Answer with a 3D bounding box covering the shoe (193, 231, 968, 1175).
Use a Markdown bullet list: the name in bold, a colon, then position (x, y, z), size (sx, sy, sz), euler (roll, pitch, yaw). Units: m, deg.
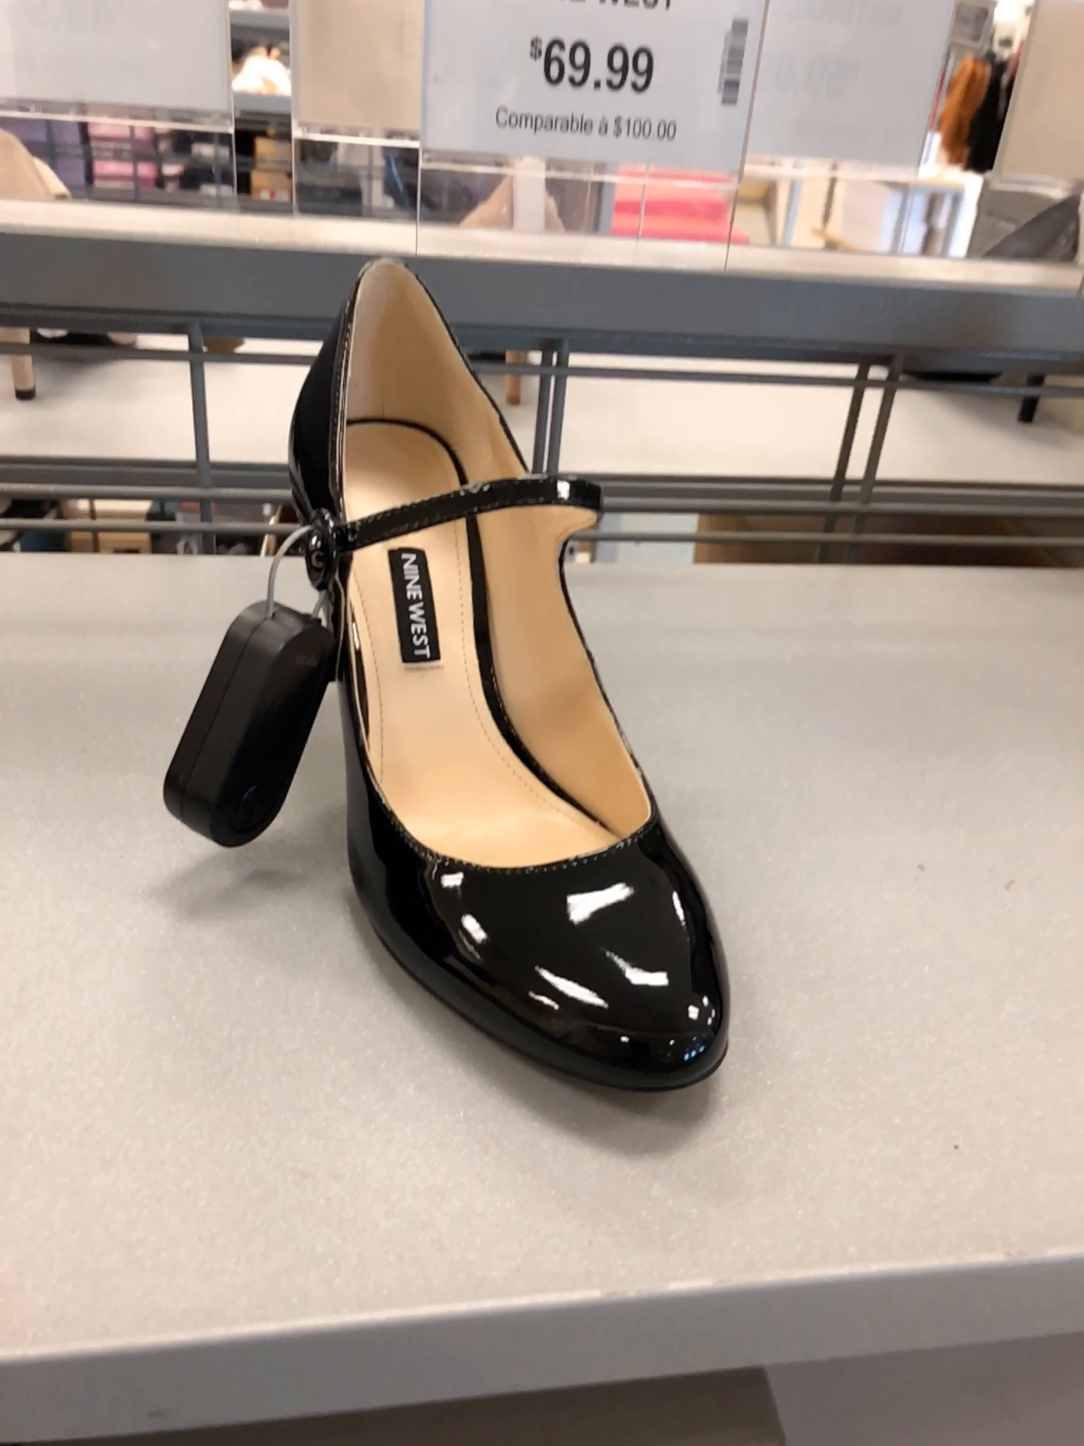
- **shoe**: position (-0.022, -0.035, 0.345), size (0.090, 0.151, 0.258), euler (-10, 35, -25)
